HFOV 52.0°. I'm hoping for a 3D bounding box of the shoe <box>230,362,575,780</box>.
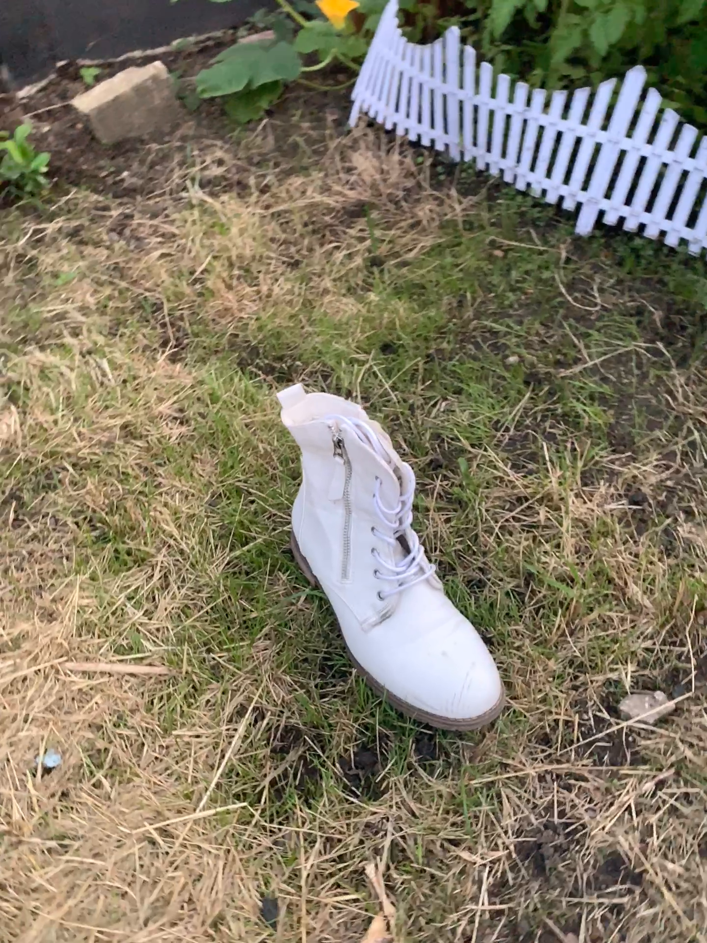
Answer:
[{"bbox_3d":[0.026,0.069,0.565,0.100,0.178,0.262,-29,51,-21],"label":"shoe"}]
